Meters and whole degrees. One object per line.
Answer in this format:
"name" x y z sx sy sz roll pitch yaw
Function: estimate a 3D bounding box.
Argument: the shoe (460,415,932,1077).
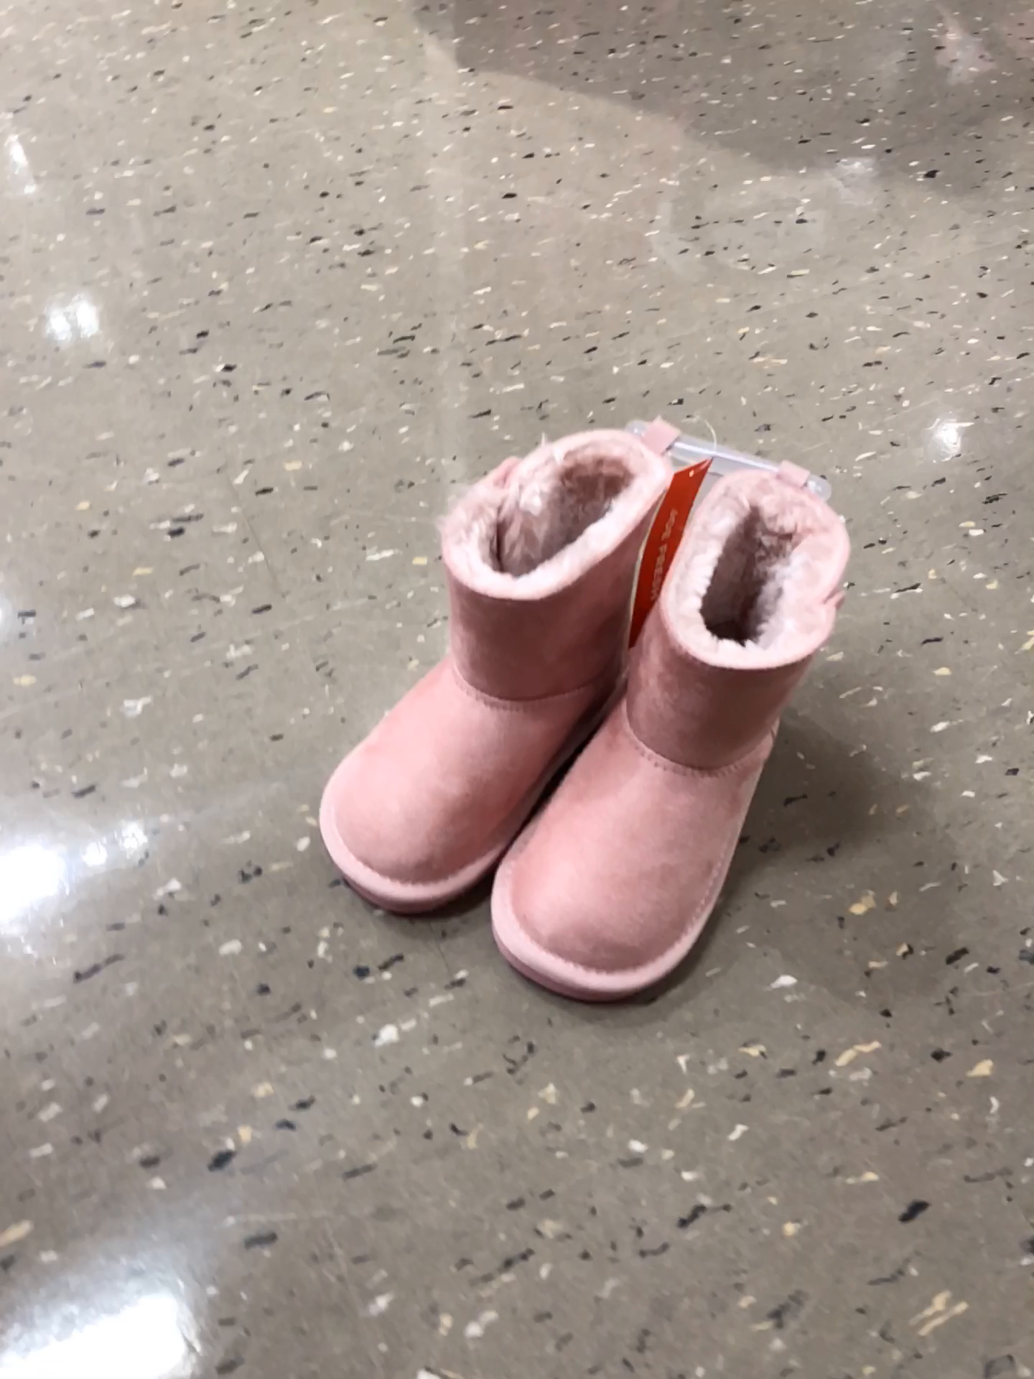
"shoe" 0.059 0.022 0.407 0.090 0.150 0.160 23 57 14

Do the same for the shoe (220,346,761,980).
"shoe" -0.005 -0.008 0.421 0.090 0.150 0.160 34 60 20
